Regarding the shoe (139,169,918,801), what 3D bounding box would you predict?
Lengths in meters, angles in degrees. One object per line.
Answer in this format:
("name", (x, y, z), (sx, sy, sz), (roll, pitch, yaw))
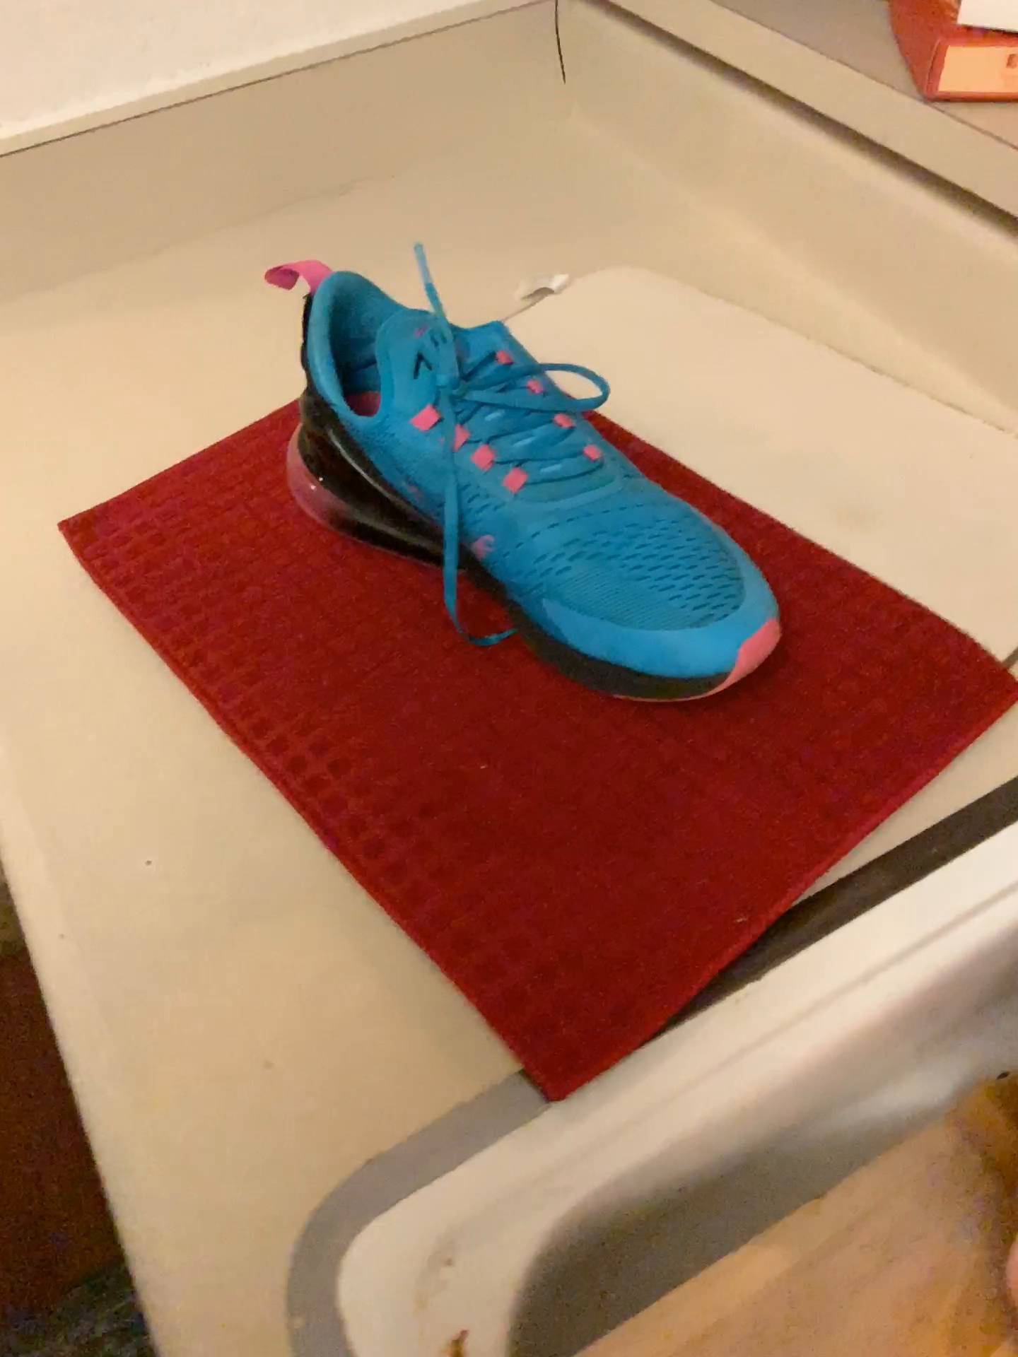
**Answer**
("shoe", (-0.002, -0.112, 0.554), (0.330, 0.130, 0.150), (32, 60, 28))
